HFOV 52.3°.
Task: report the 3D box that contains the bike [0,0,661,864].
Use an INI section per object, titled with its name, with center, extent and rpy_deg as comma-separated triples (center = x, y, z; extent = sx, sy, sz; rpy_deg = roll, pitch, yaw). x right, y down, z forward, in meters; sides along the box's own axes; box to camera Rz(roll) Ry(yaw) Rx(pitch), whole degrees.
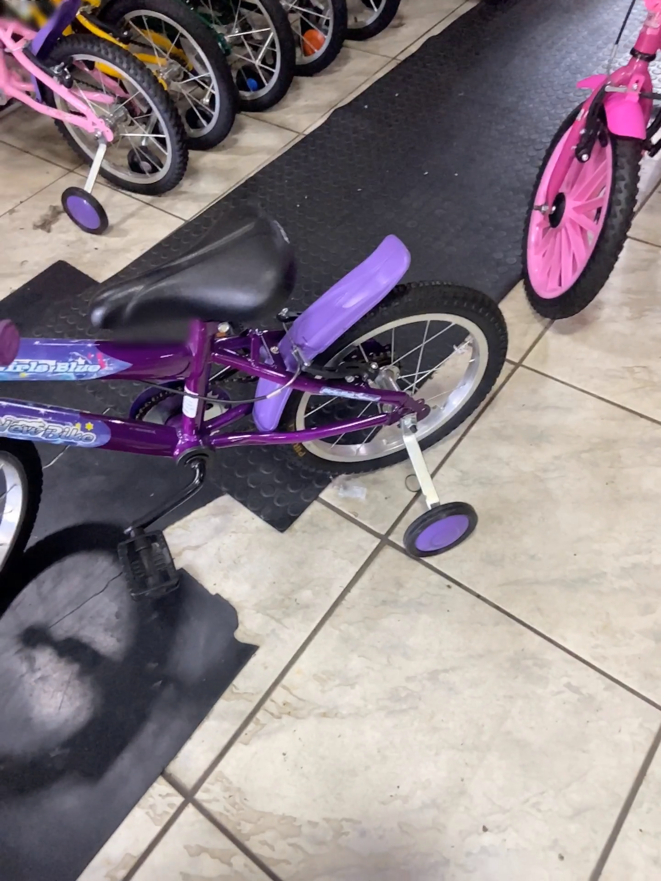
[bike]
center = -0.207, -0.060, 0.773
extent = 0.971, 0.742, 0.449
rpy_deg = -27, 54, -13
